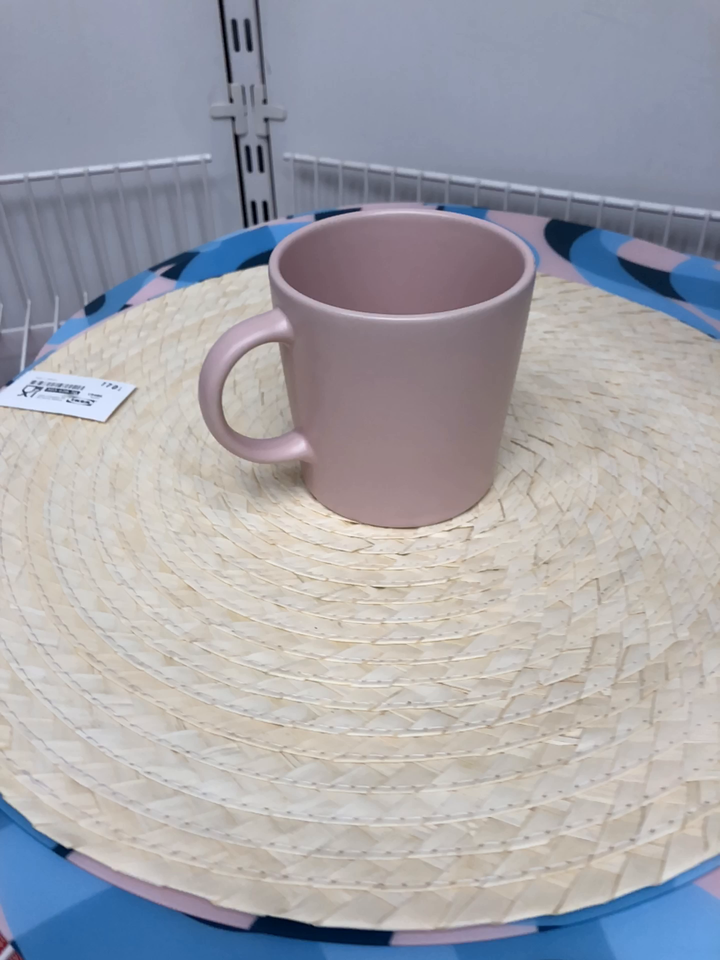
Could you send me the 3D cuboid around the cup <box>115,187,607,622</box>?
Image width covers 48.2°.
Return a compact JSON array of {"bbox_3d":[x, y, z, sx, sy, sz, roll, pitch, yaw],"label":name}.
[{"bbox_3d":[0.000,-0.037,0.294,0.130,0.090,0.100,-22,41,-25],"label":"cup"}]
